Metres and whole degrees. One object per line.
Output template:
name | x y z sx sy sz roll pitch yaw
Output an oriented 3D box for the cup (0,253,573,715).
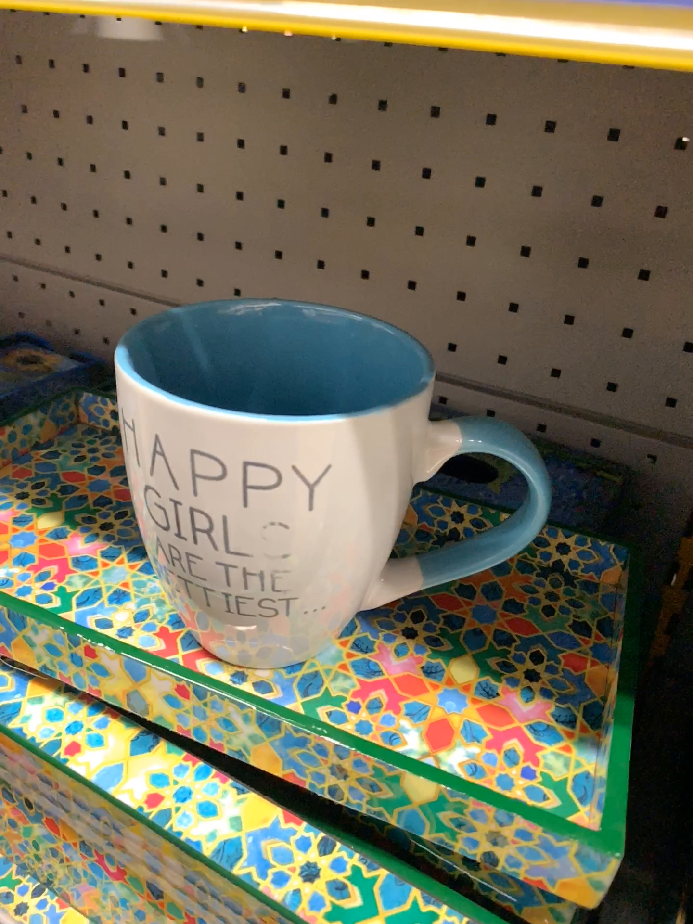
cup | -0.016 -0.003 0.258 0.150 0.100 0.120 8 28 3
